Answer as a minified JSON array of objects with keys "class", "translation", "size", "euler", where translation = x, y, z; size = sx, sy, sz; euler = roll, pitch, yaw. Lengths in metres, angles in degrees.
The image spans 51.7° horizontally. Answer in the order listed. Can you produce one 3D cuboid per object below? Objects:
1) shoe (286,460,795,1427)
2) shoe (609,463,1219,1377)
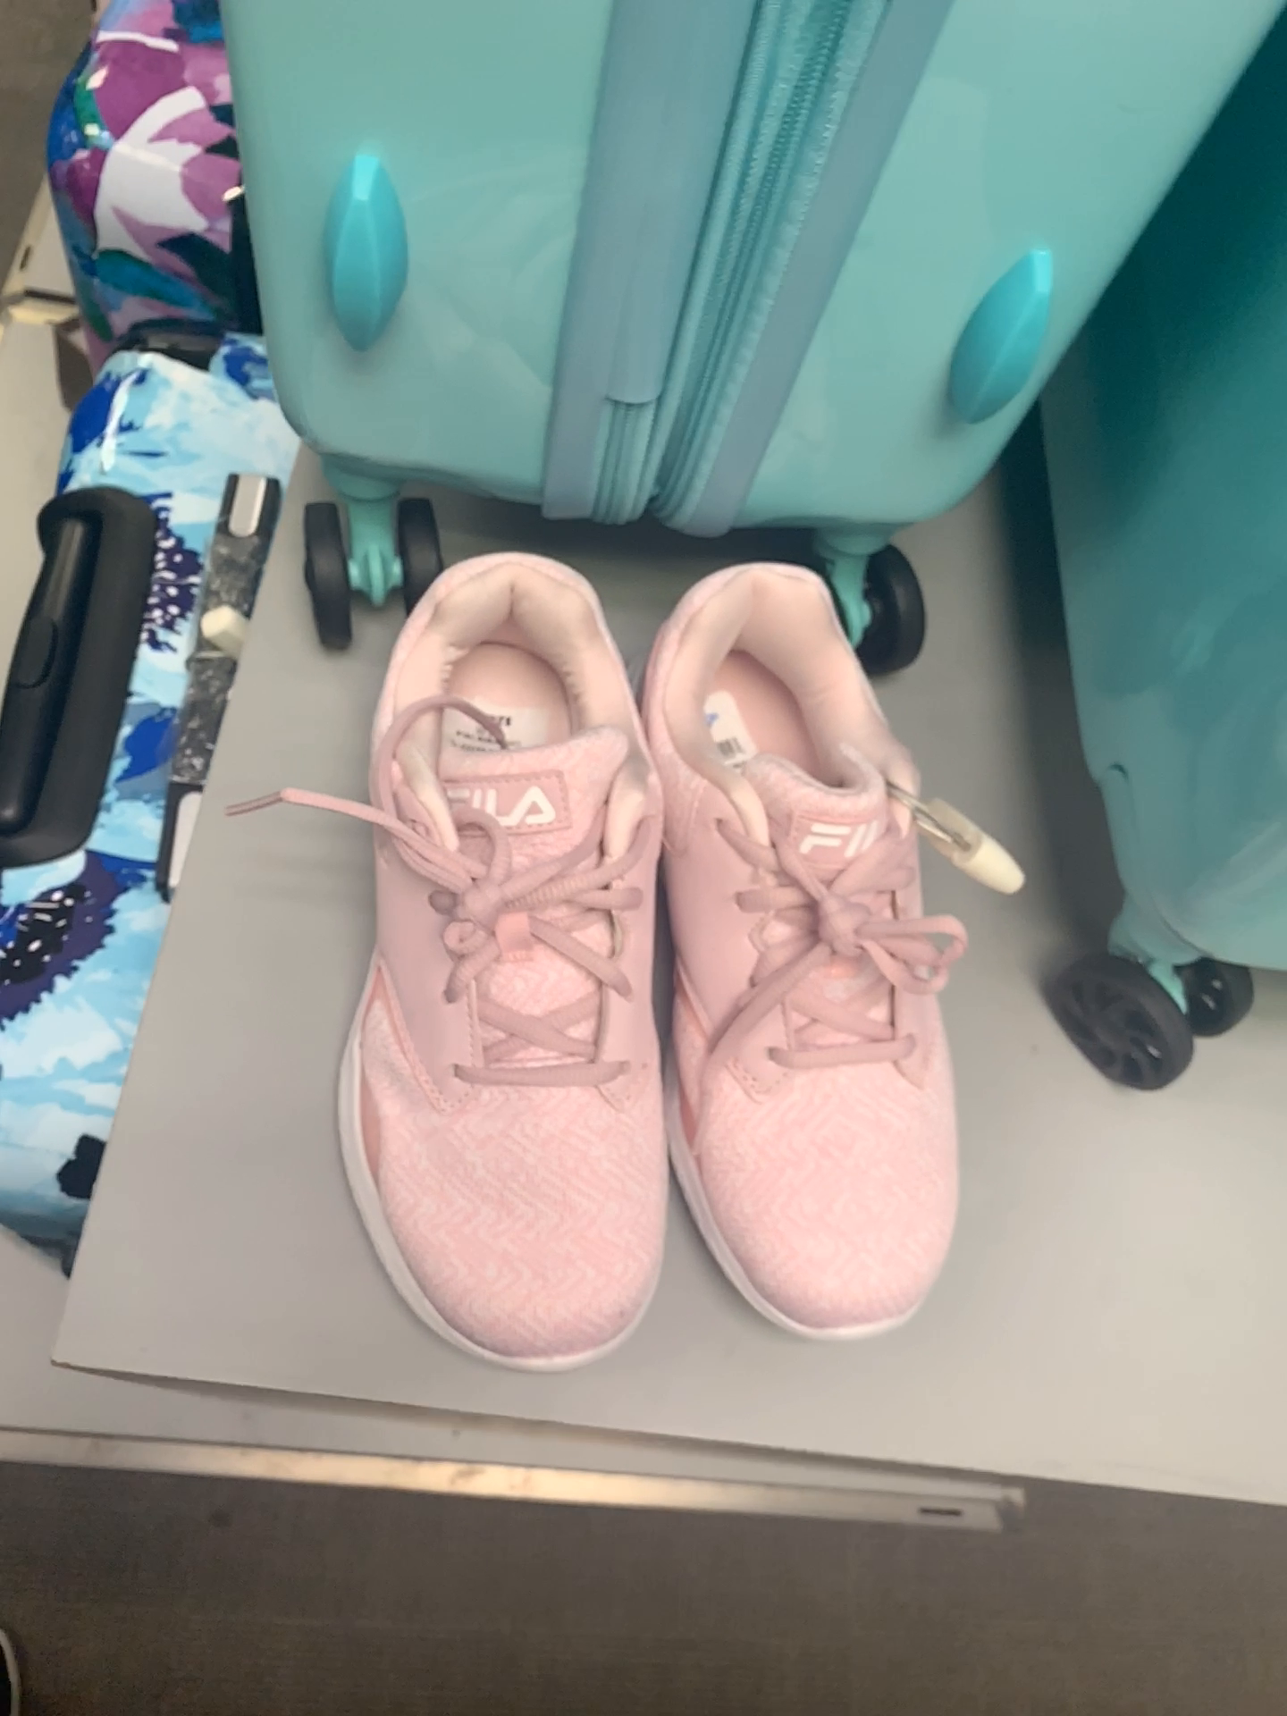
[{"class":"shoe","translation":[-0.042,0.021,0.383],"size":[0.107,0.104,0.251],"euler":[-3,67,-11]},{"class":"shoe","translation":[0.063,0.016,0.404],"size":[0.107,0.104,0.251],"euler":[-3,67,-11]}]
